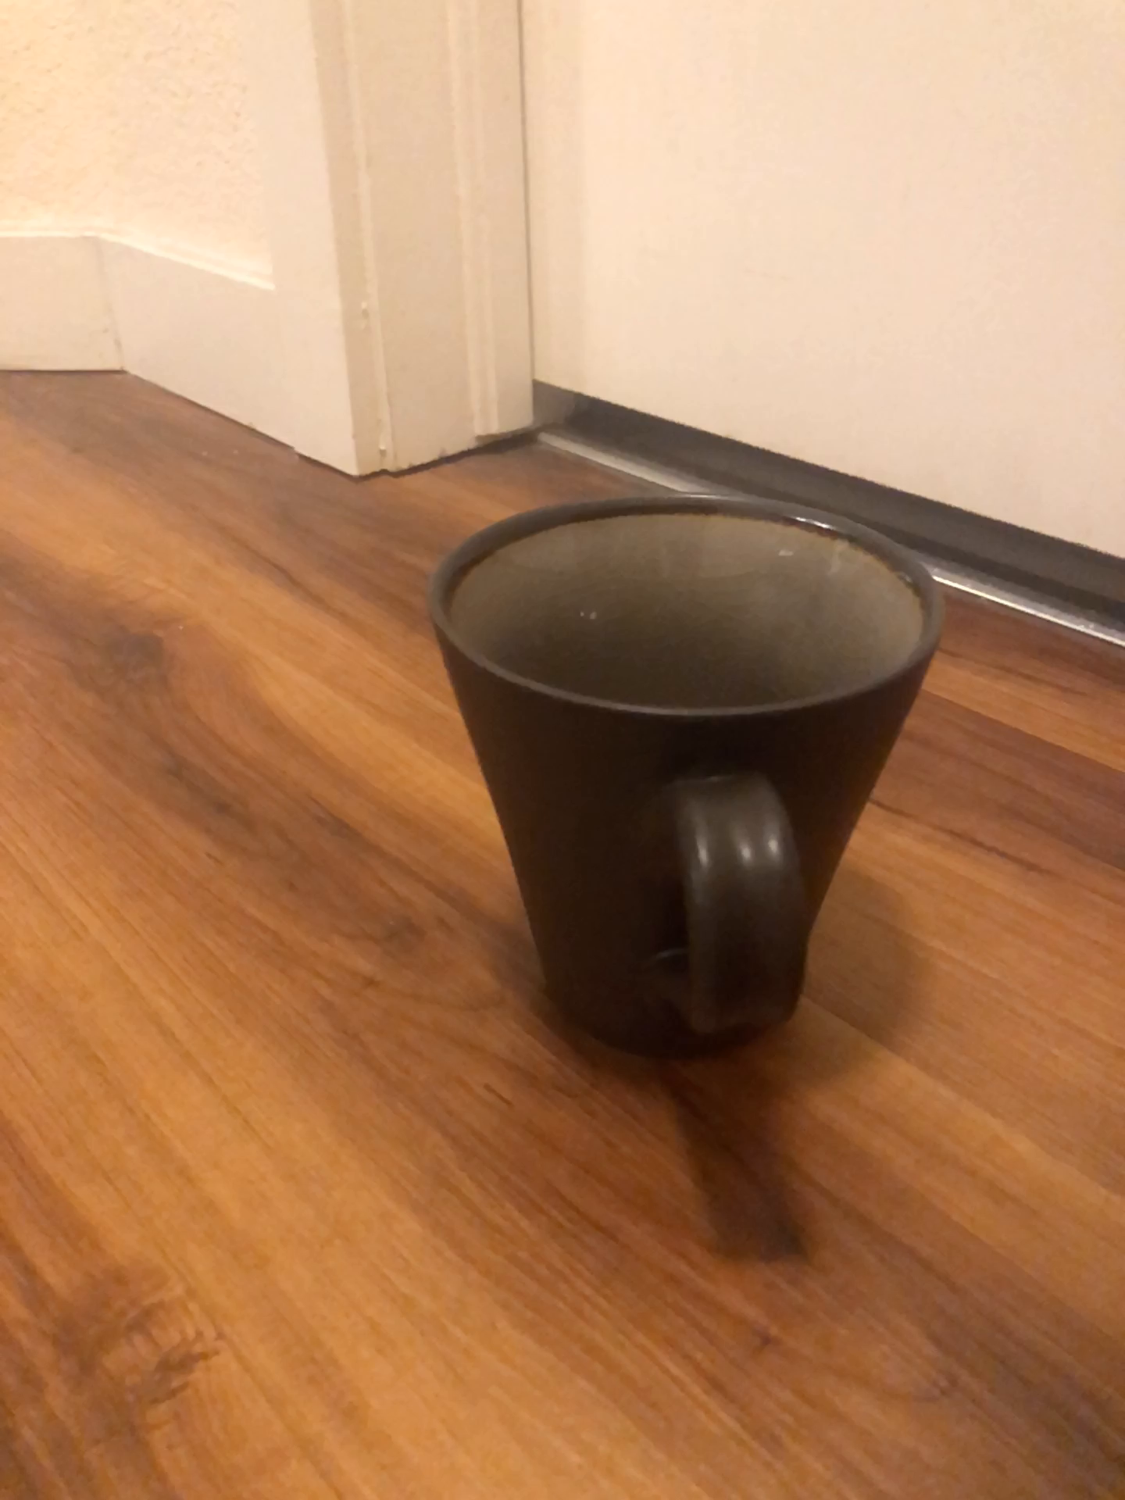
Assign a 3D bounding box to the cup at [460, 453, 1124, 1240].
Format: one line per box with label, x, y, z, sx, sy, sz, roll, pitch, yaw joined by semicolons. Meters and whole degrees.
cup;0.037;0.008;0.282;0.114;0.100;0.155;-3;31;-3
